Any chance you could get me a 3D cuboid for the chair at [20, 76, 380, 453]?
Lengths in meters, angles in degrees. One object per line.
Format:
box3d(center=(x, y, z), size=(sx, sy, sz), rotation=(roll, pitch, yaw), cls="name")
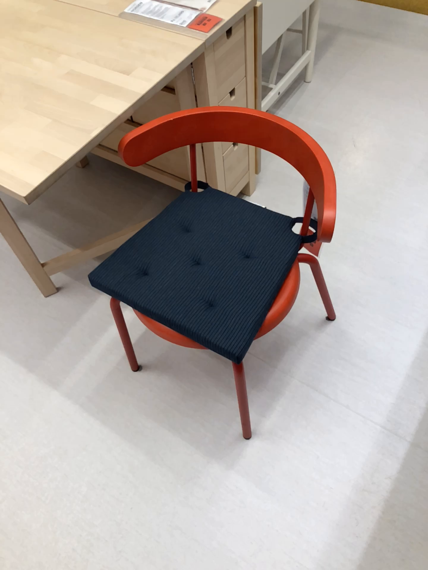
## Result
box3d(center=(0.006, -0.024, 1.199), size=(0.521, 0.676, 0.502), rotation=(26, 61, 21), cls="chair")
